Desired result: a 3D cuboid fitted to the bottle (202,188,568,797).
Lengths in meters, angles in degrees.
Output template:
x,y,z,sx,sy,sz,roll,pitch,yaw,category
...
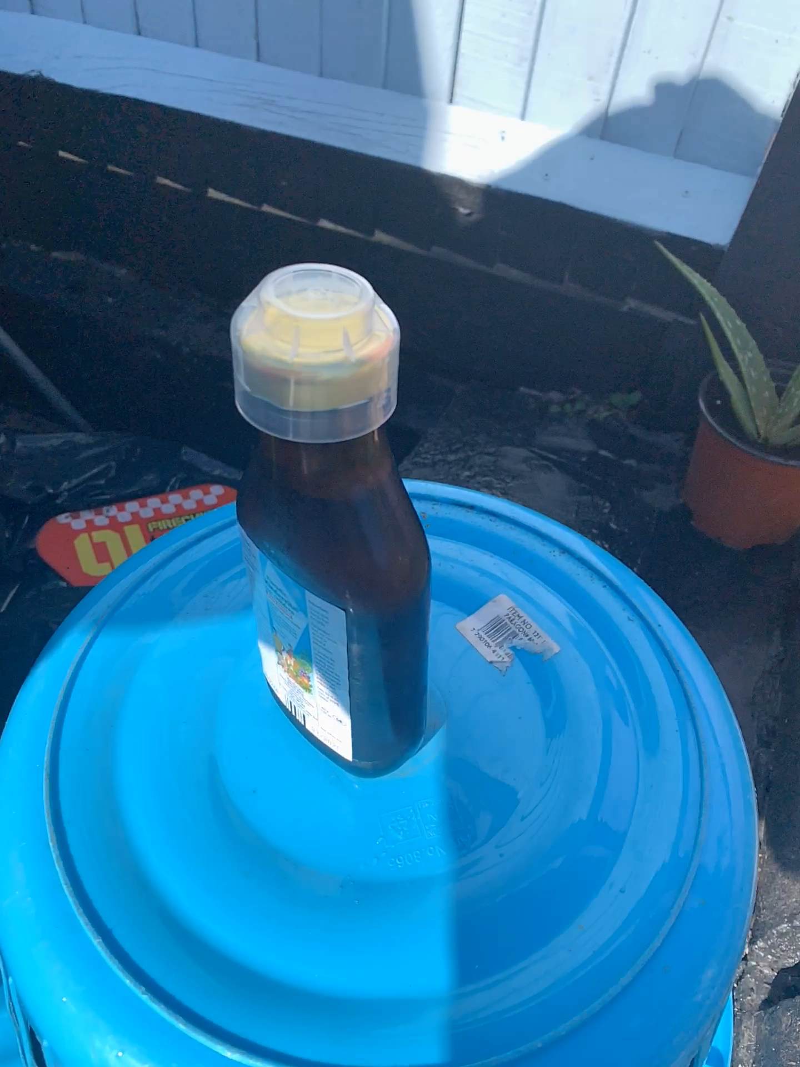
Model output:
x,y,z,sx,sy,sz,roll,pitch,yaw,category
-0.013,0.001,0.281,0.080,0.198,0.050,35,52,24,bottle
